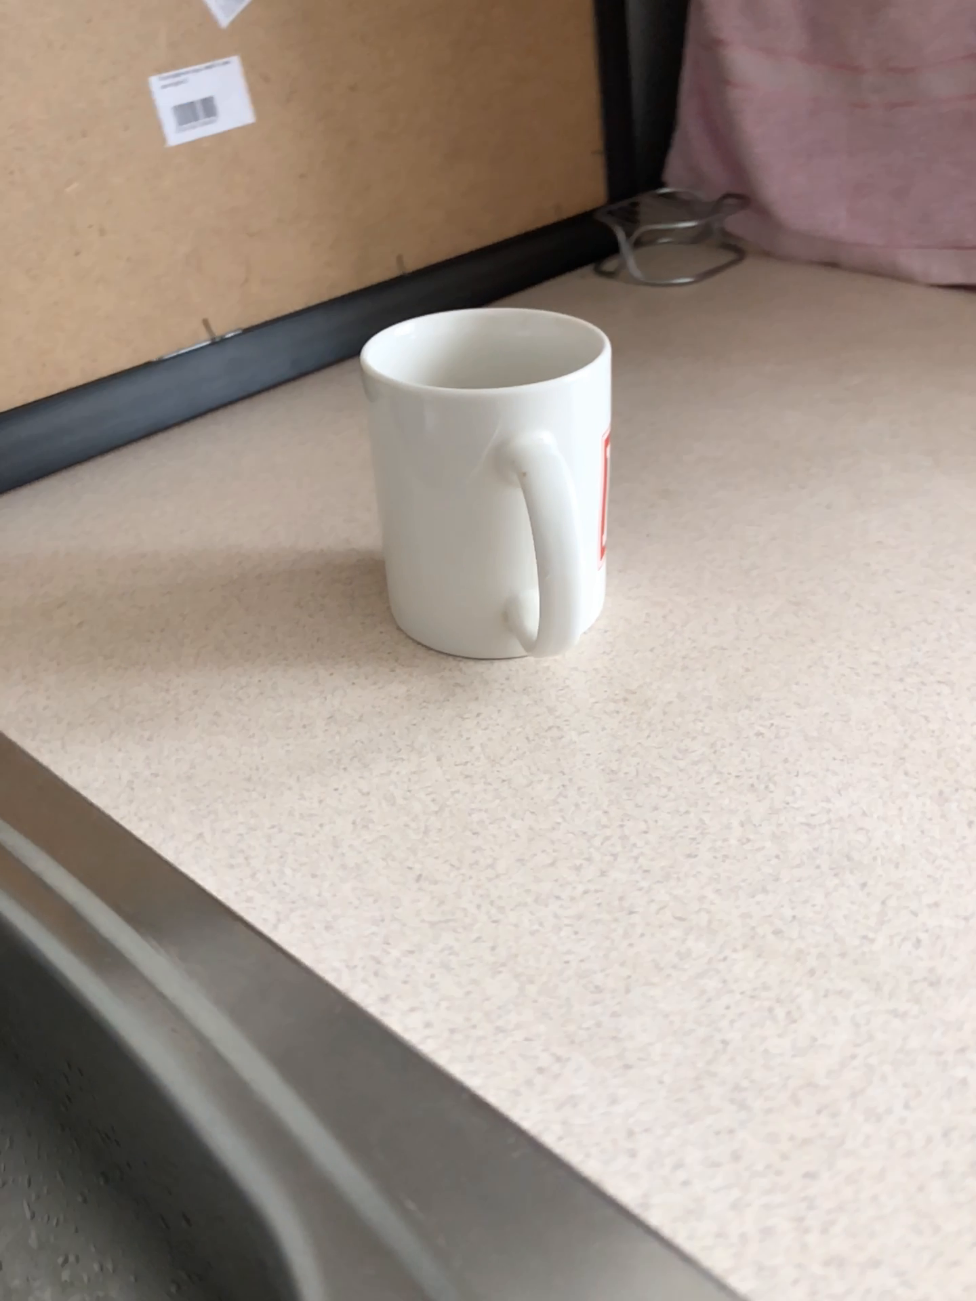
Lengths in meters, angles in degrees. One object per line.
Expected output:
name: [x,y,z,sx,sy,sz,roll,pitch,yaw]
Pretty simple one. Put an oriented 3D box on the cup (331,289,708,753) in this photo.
cup: [0.005,-0.050,0.361,0.084,0.099,0.121,-11,35,-12]
